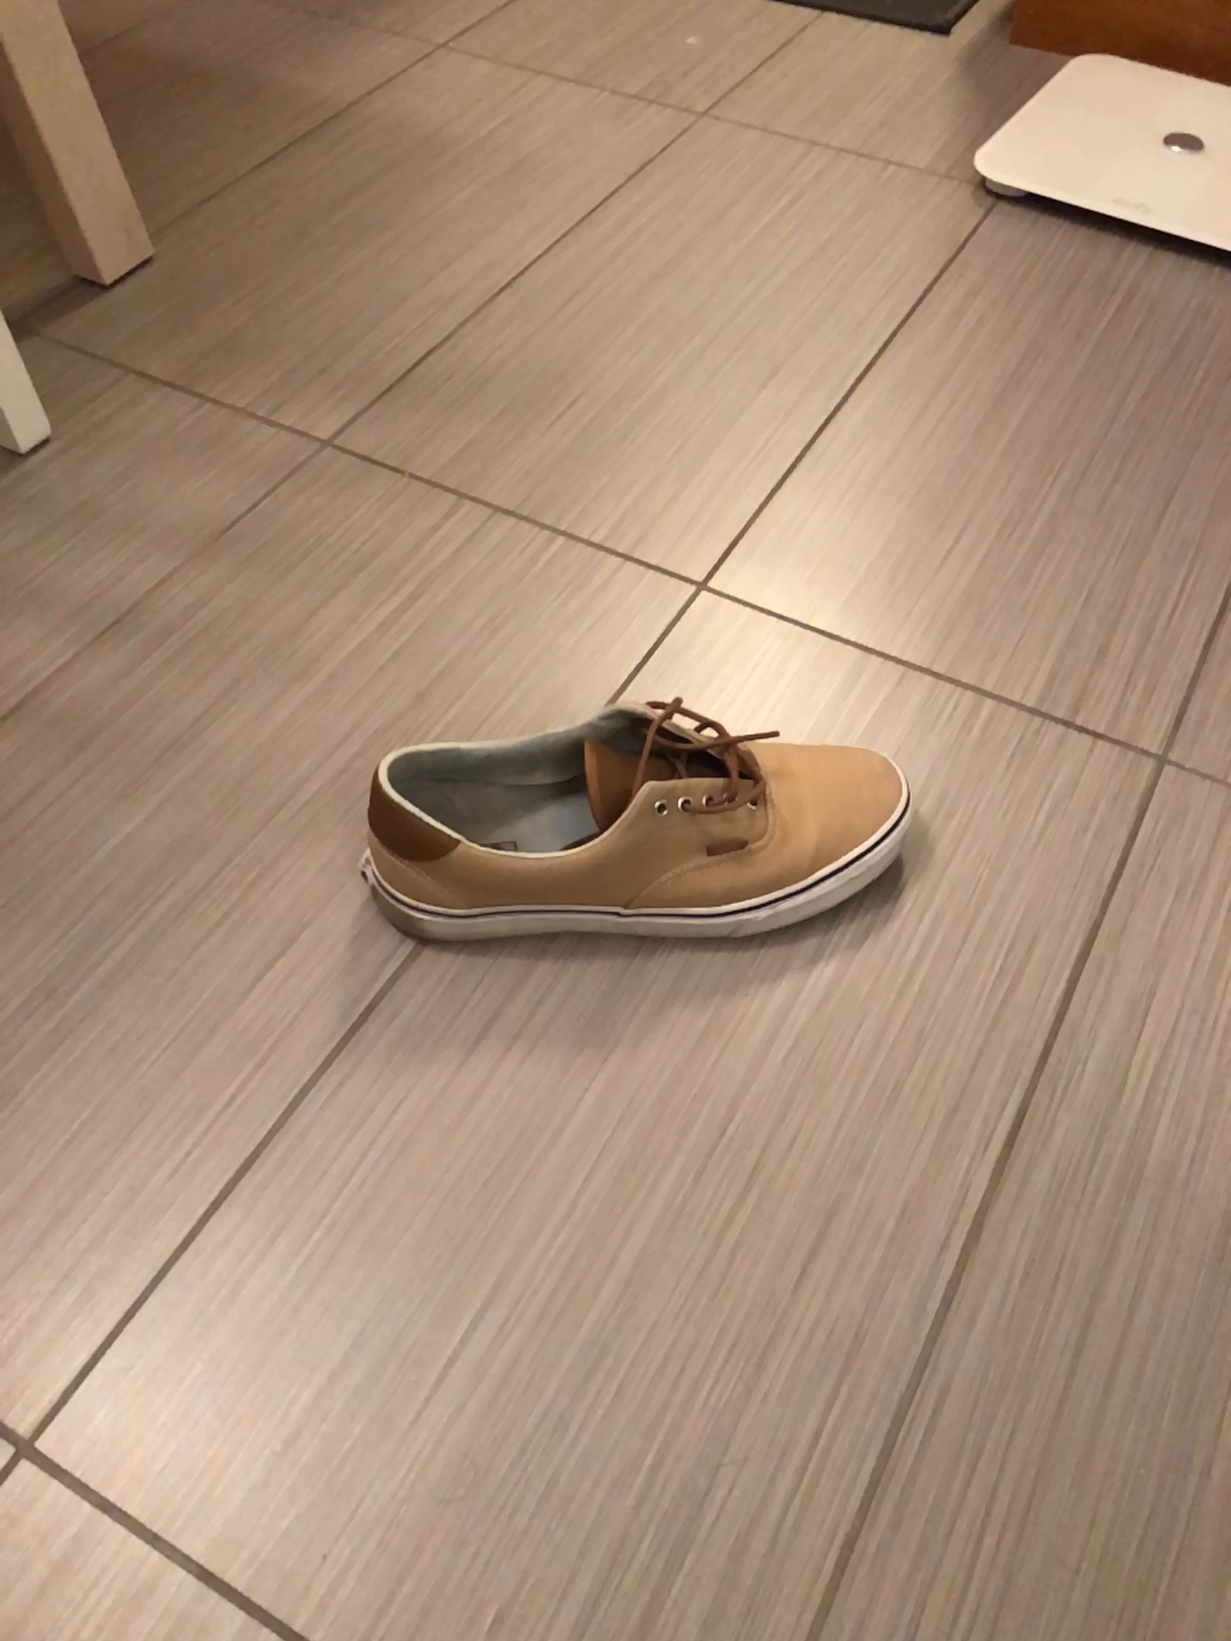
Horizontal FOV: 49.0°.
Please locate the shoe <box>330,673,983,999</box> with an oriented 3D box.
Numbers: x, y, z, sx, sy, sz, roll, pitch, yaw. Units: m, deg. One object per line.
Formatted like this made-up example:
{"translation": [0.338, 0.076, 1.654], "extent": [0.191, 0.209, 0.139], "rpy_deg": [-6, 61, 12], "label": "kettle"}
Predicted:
{"translation": [0.016, 0.005, 0.699], "extent": [0.310, 0.070, 0.111], "rpy_deg": [-7, 51, -6], "label": "shoe"}
